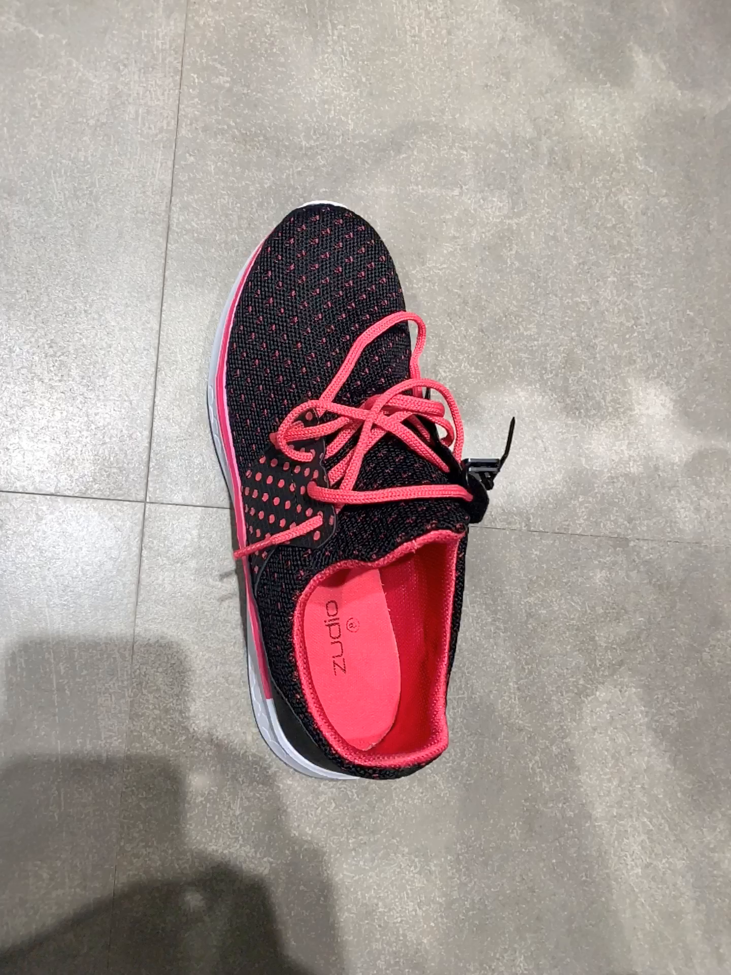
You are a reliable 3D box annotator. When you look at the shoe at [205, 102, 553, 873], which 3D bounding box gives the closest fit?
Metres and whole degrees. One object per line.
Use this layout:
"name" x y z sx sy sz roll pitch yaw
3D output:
"shoe" -0.005 -0.001 0.323 0.110 0.110 0.263 -1 84 -17
